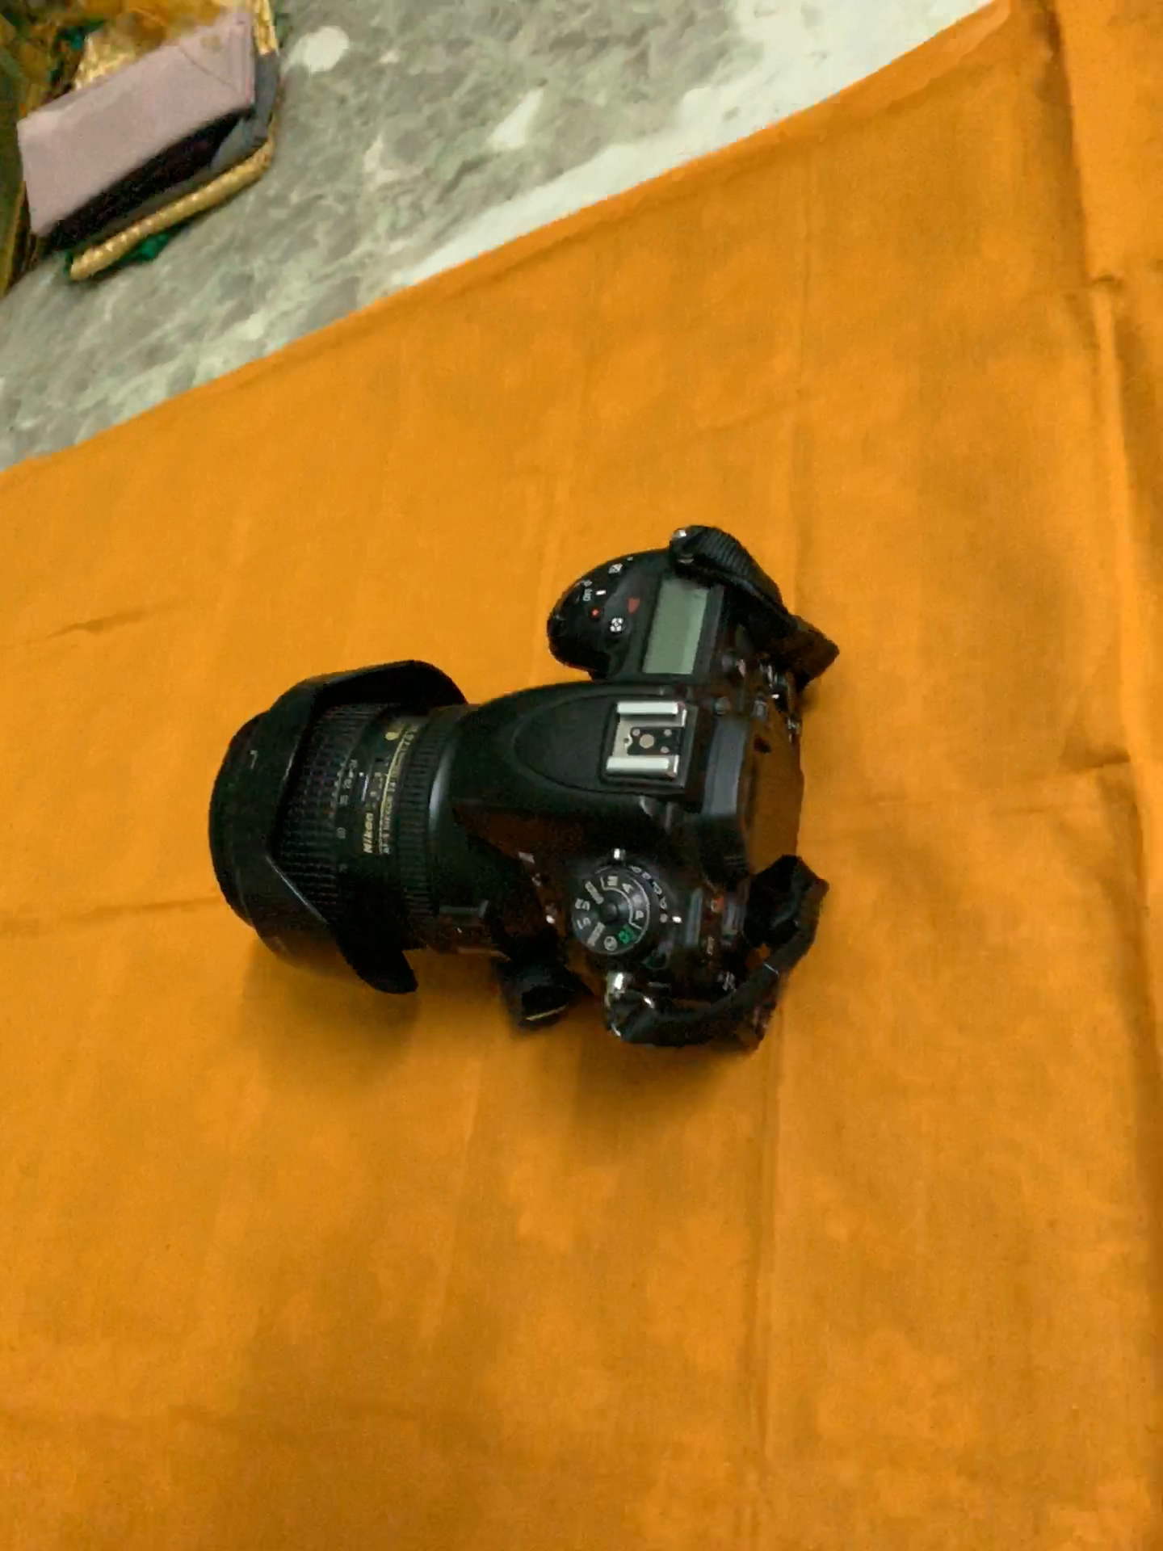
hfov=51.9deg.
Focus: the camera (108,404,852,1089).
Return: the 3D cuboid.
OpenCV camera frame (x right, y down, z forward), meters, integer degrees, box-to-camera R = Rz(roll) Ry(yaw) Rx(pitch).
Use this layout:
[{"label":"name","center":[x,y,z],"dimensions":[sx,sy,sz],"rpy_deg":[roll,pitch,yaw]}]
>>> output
[{"label":"camera","center":[-0.023,0.003,0.367],"dimensions":[0.171,0.110,0.151],"rpy_deg":[-6,61,32]}]
